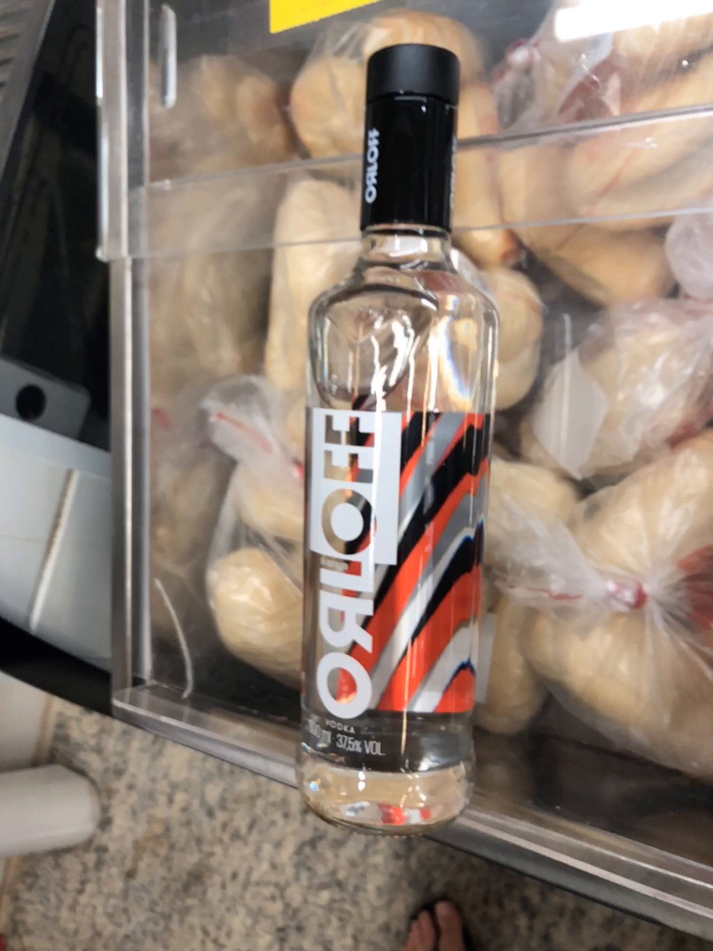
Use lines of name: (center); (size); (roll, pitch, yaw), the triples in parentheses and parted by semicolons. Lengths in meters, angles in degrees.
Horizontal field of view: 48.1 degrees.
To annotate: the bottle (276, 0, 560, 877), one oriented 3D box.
bottle: (0.021, -0.022, 0.296); (0.070, 0.070, 0.300); (6, 98, 34)
